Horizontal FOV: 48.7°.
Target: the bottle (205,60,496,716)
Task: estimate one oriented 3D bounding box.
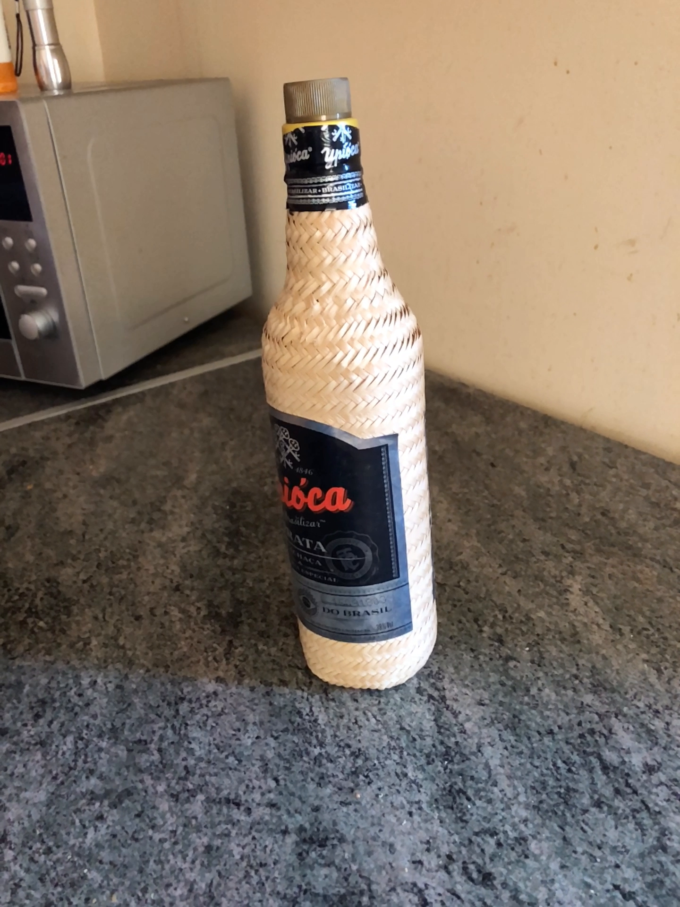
[{"bbox_3d":[0.005,-0.026,0.364,0.080,0.288,0.090,-18,30,-29],"label":"bottle"}]
